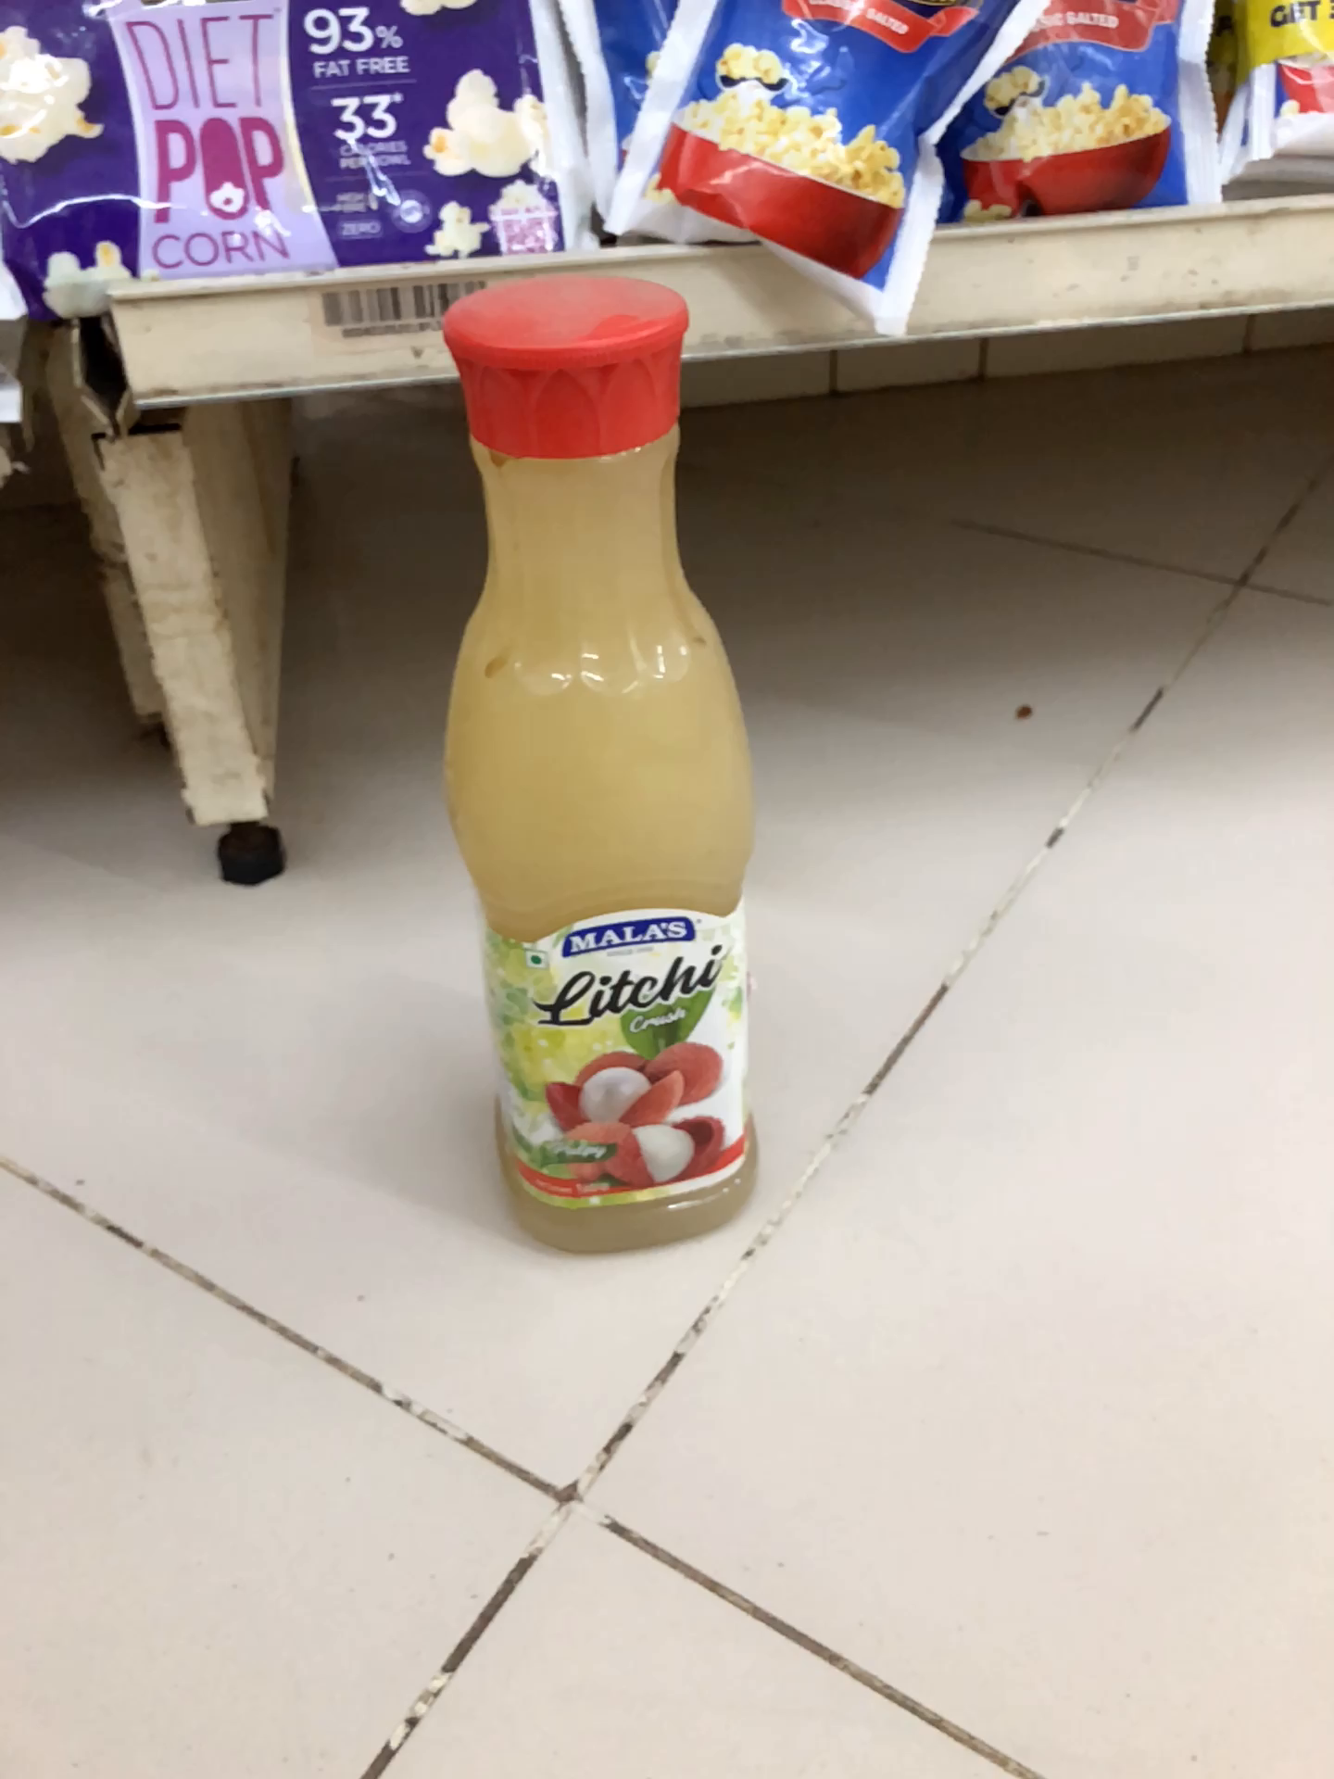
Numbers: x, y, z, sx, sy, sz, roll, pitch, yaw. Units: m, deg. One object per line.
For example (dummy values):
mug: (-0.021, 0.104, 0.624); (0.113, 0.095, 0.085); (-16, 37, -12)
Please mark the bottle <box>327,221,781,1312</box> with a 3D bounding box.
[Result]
bottle: (-0.024, -0.018, 0.413); (0.090, 0.288, 0.091); (-2, 37, 1)
